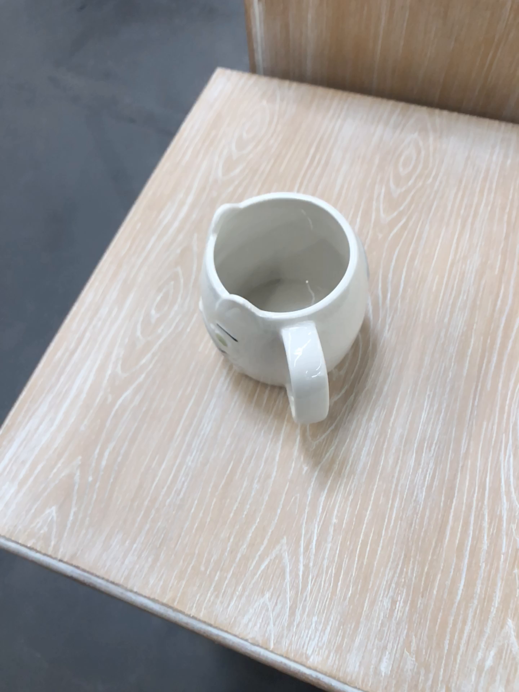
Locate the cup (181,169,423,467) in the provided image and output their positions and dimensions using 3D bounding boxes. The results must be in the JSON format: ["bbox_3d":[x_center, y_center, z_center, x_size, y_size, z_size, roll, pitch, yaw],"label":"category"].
[{"bbox_3d":[0.020,-0.014,0.316,0.091,0.073,0.125,-14,62,2],"label":"cup"}]
